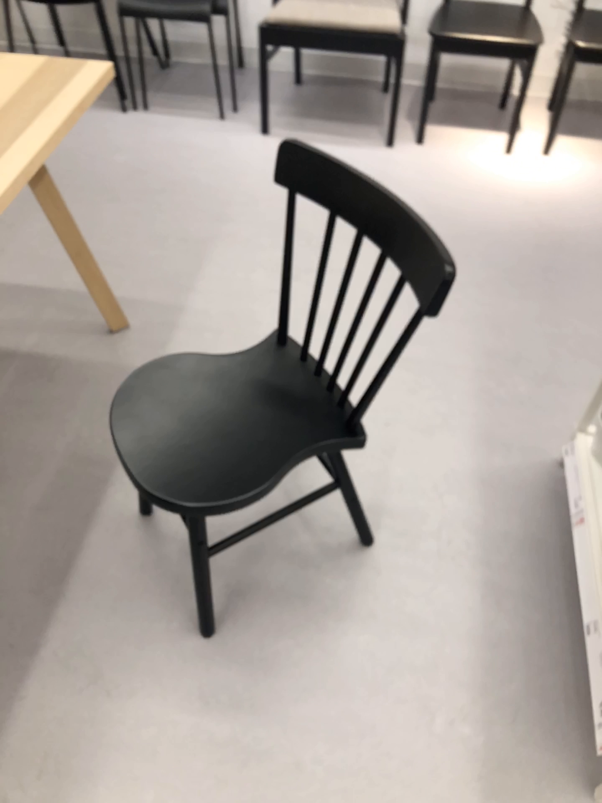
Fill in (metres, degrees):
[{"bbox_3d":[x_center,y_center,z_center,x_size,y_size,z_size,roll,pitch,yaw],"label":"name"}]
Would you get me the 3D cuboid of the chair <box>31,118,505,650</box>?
[{"bbox_3d":[-0.070,-0.016,1.234,0.521,0.715,0.483,-23,53,-20],"label":"chair"}]
